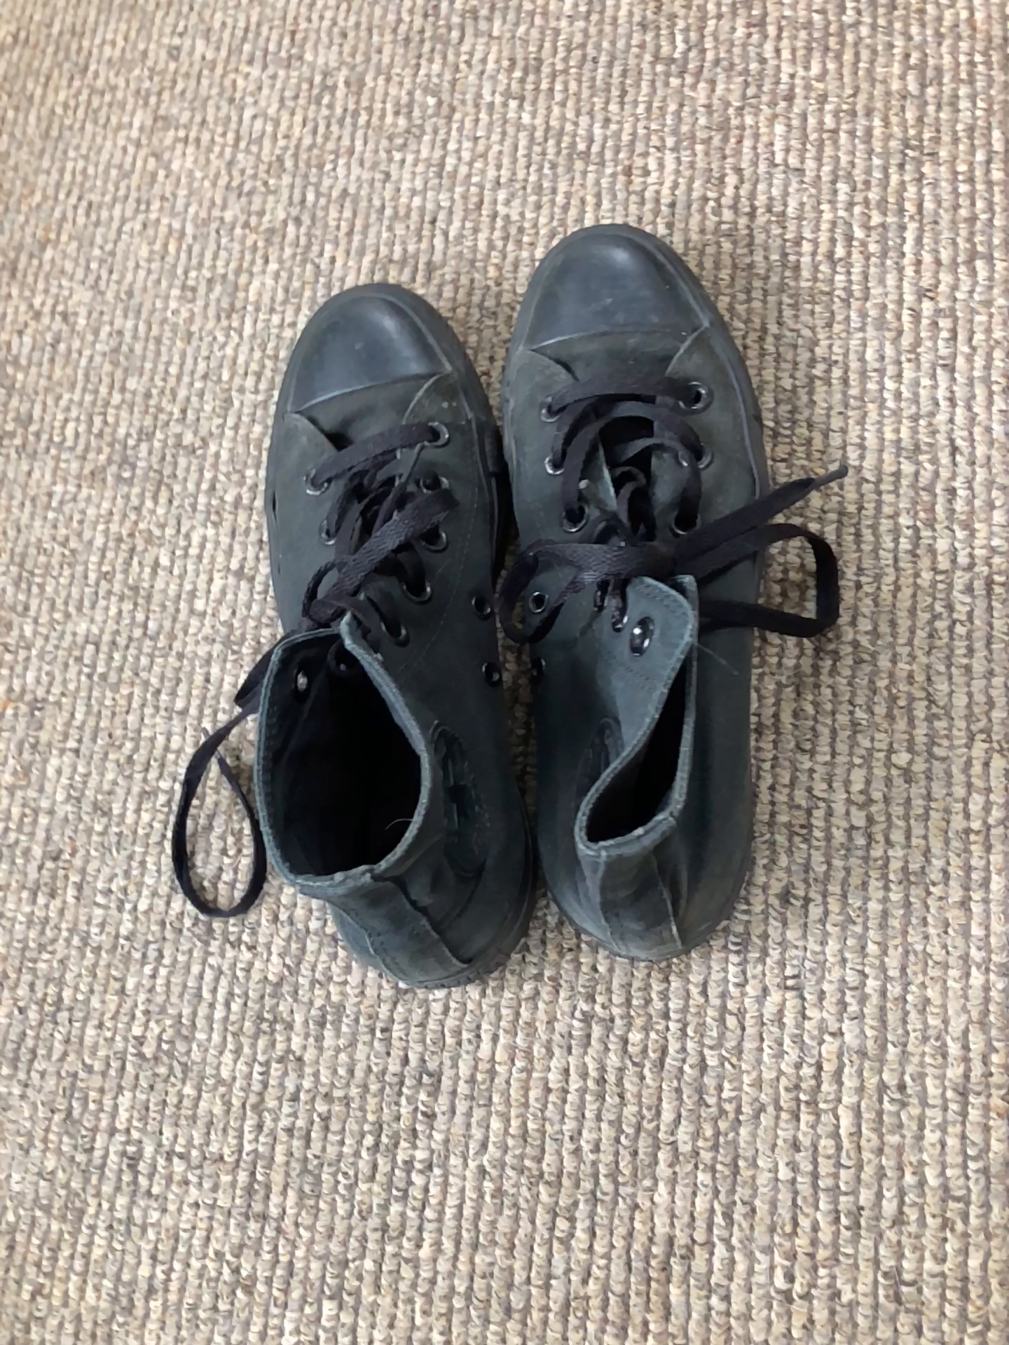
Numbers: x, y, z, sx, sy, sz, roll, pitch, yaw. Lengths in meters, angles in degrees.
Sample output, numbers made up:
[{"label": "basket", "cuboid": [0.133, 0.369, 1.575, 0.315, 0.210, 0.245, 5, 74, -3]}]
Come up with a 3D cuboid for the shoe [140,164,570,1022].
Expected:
[{"label": "shoe", "cuboid": [-0.045, -0.016, 0.365, 0.088, 0.127, 0.236, -9, 73, 9]}]

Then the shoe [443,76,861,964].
[{"label": "shoe", "cuboid": [0.044, -0.035, 0.358, 0.088, 0.127, 0.243, -6, 74, 10]}]
